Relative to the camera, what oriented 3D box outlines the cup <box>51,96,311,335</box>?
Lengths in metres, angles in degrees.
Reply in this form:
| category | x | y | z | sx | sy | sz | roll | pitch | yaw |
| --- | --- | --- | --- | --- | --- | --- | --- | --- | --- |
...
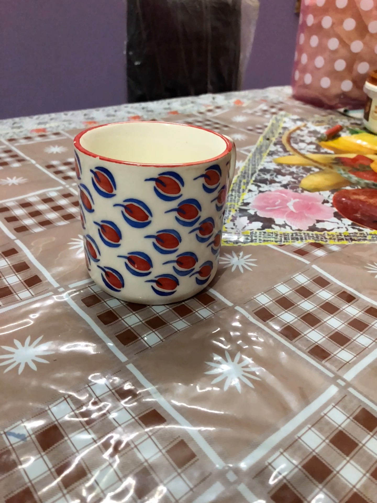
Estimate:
| category | x | y | z | sx | sy | sz | roll | pitch | yaw |
| --- | --- | --- | --- | --- | --- | --- | --- | --- | --- |
| cup | 0.000 | -0.031 | 0.231 | 0.080 | 0.079 | 0.111 | 23 | 35 | 29 |
